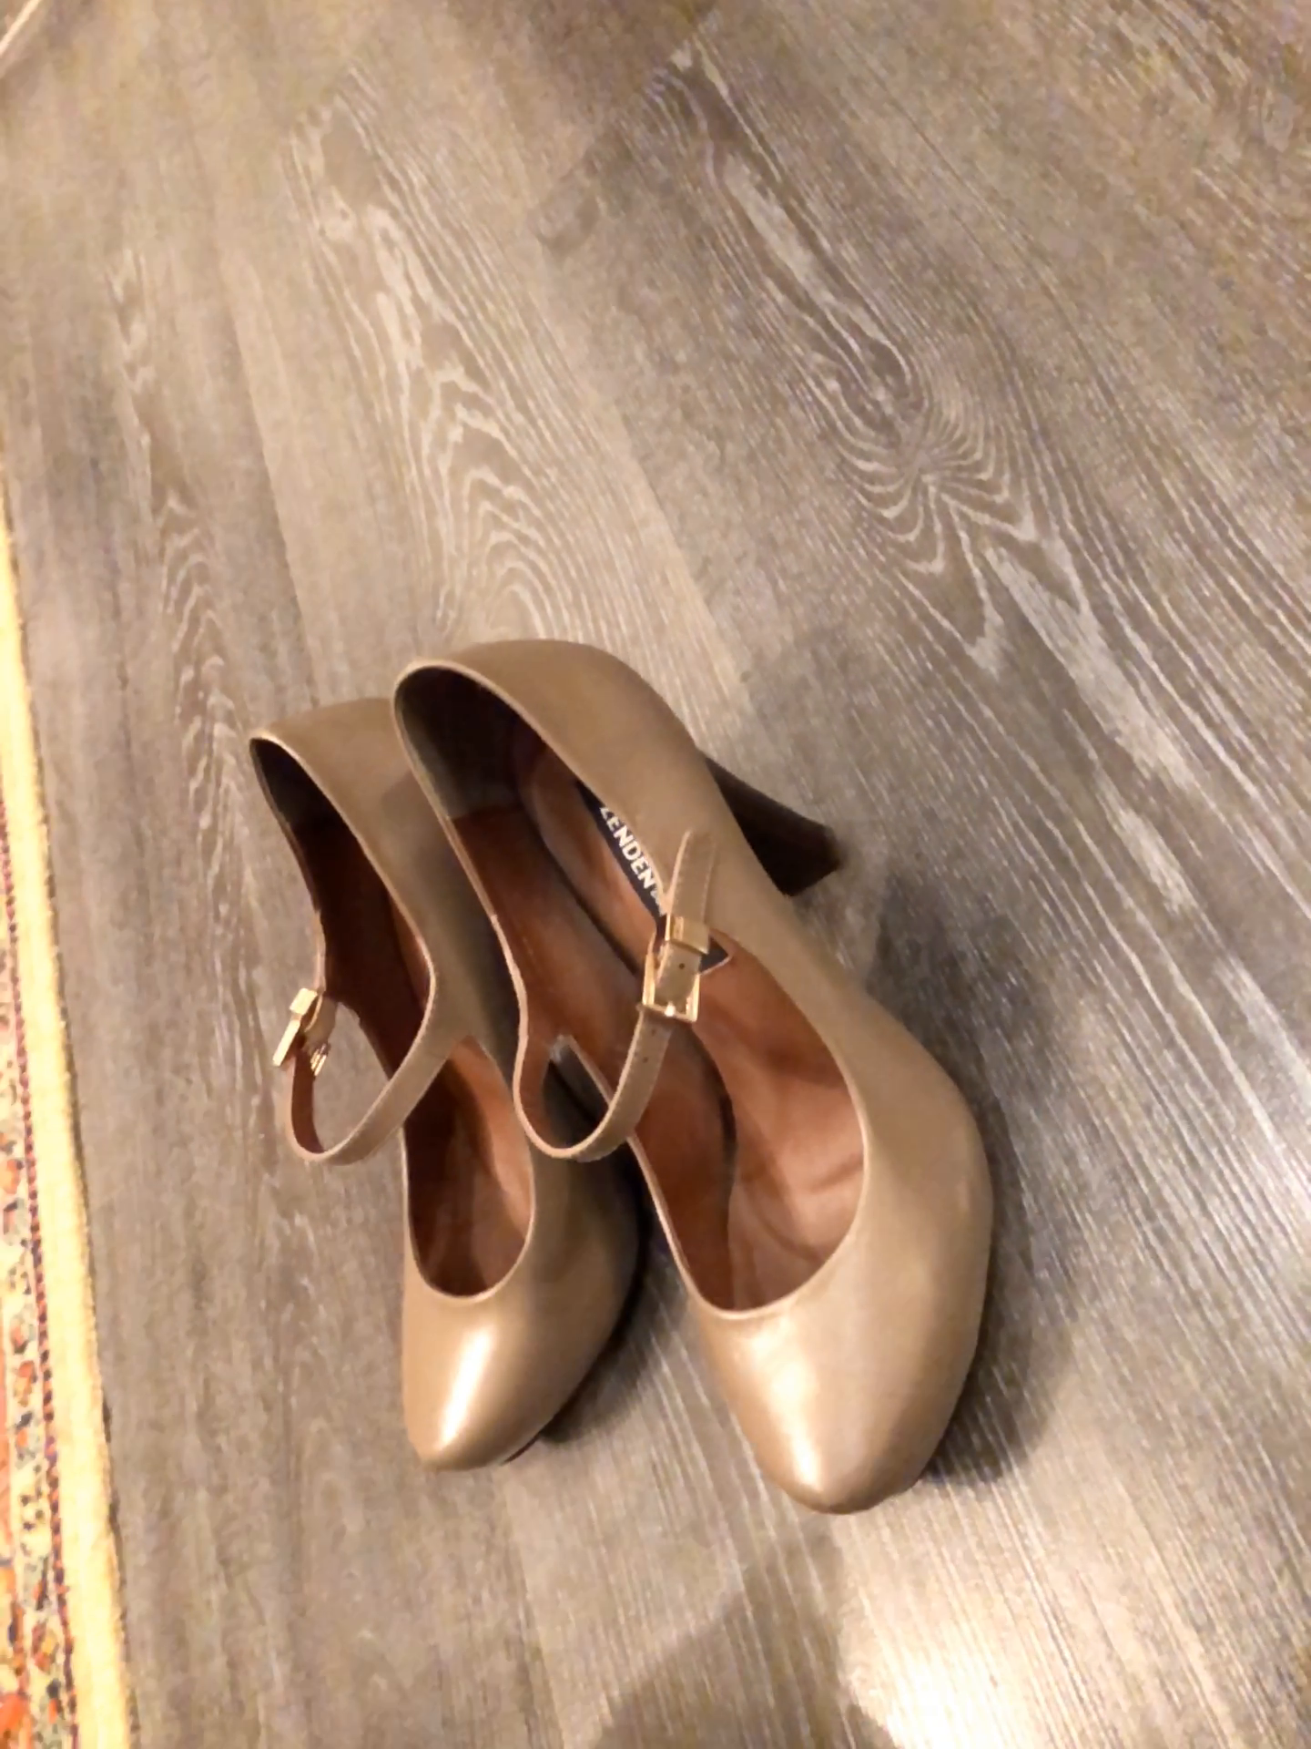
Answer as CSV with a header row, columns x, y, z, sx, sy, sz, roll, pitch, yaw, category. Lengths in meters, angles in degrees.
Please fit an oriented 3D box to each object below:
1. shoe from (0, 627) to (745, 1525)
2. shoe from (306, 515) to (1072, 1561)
x,y,z,sx,sy,sz,roll,pitch,yaw,category
-0.074,0.062,0.433,0.090,0.149,0.220,1,74,42,shoe
0.006,0.050,0.366,0.090,0.159,0.211,-25,58,33,shoe
